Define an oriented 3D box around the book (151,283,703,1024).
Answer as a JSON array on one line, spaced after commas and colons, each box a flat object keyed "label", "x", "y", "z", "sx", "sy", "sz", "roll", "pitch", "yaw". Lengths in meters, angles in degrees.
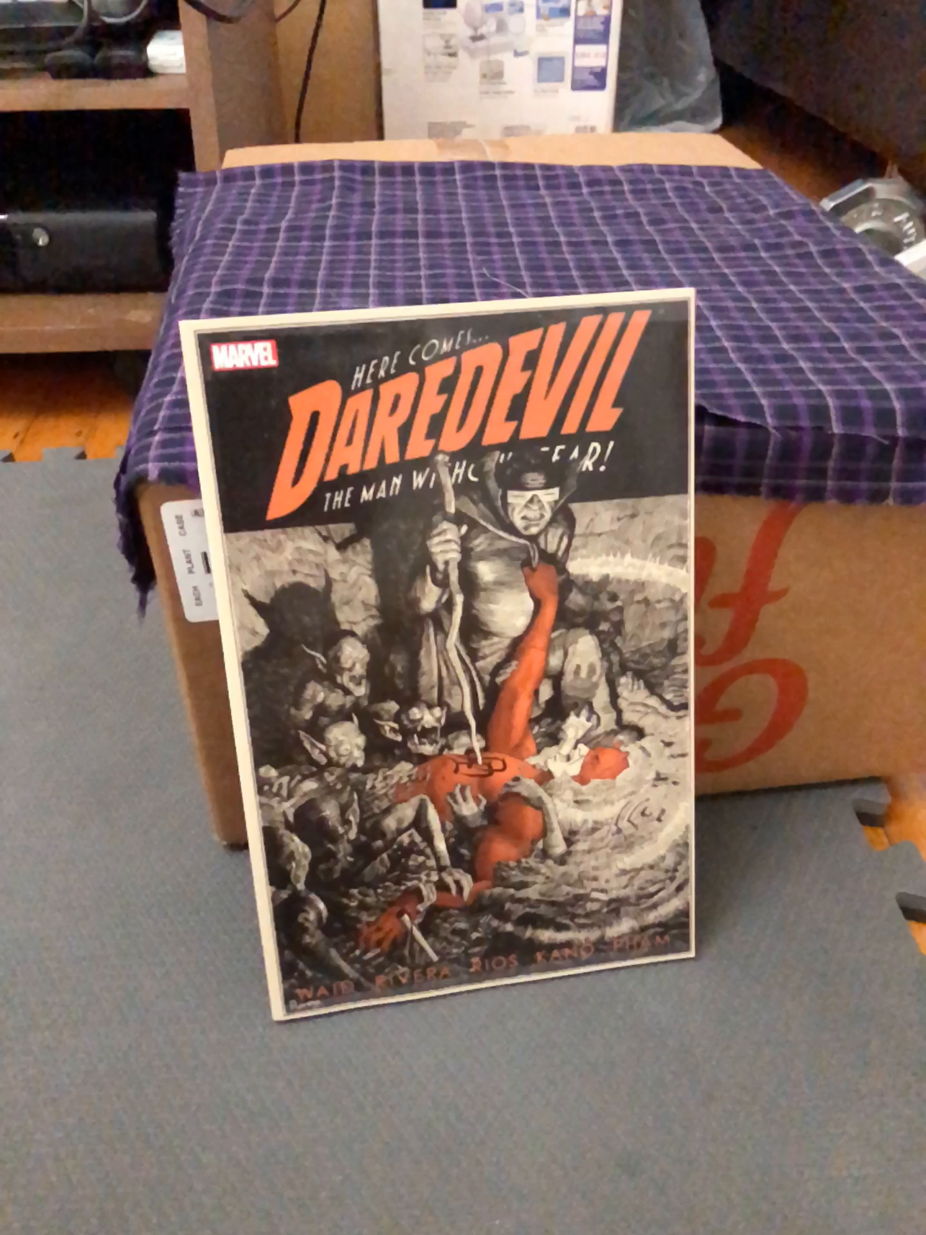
[{"label": "book", "x": -0.002, "y": 0.016, "z": 0.334, "sx": 0.160, "sy": 0.229, "sz": 0.020, "roll": -6, "pitch": 16, "yaw": -8}]
